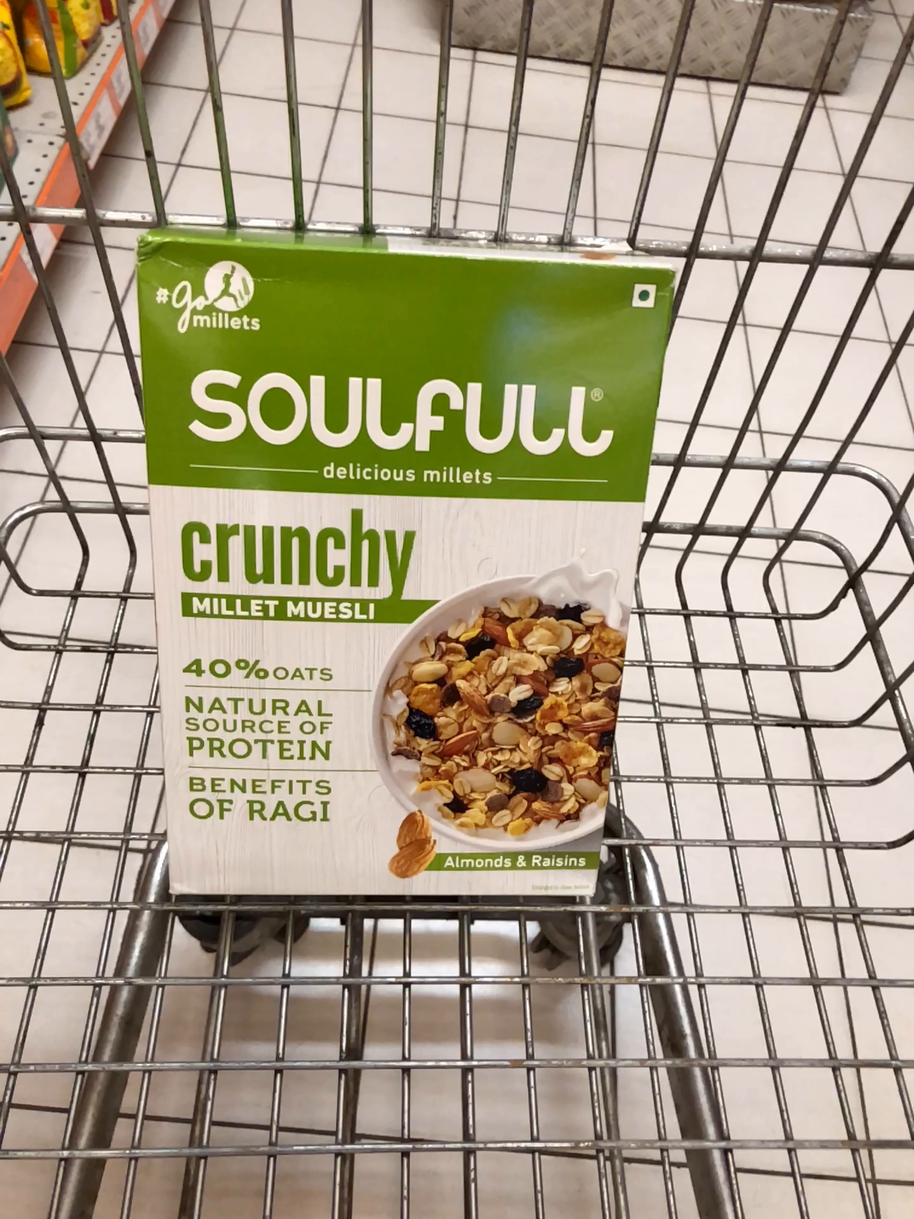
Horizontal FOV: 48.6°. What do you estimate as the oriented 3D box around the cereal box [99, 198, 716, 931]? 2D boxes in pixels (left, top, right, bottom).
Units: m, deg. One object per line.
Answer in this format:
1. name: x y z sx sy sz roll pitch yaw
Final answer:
1. cereal box: -0.021 -0.009 0.354 0.170 0.239 0.070 2 21 -5
